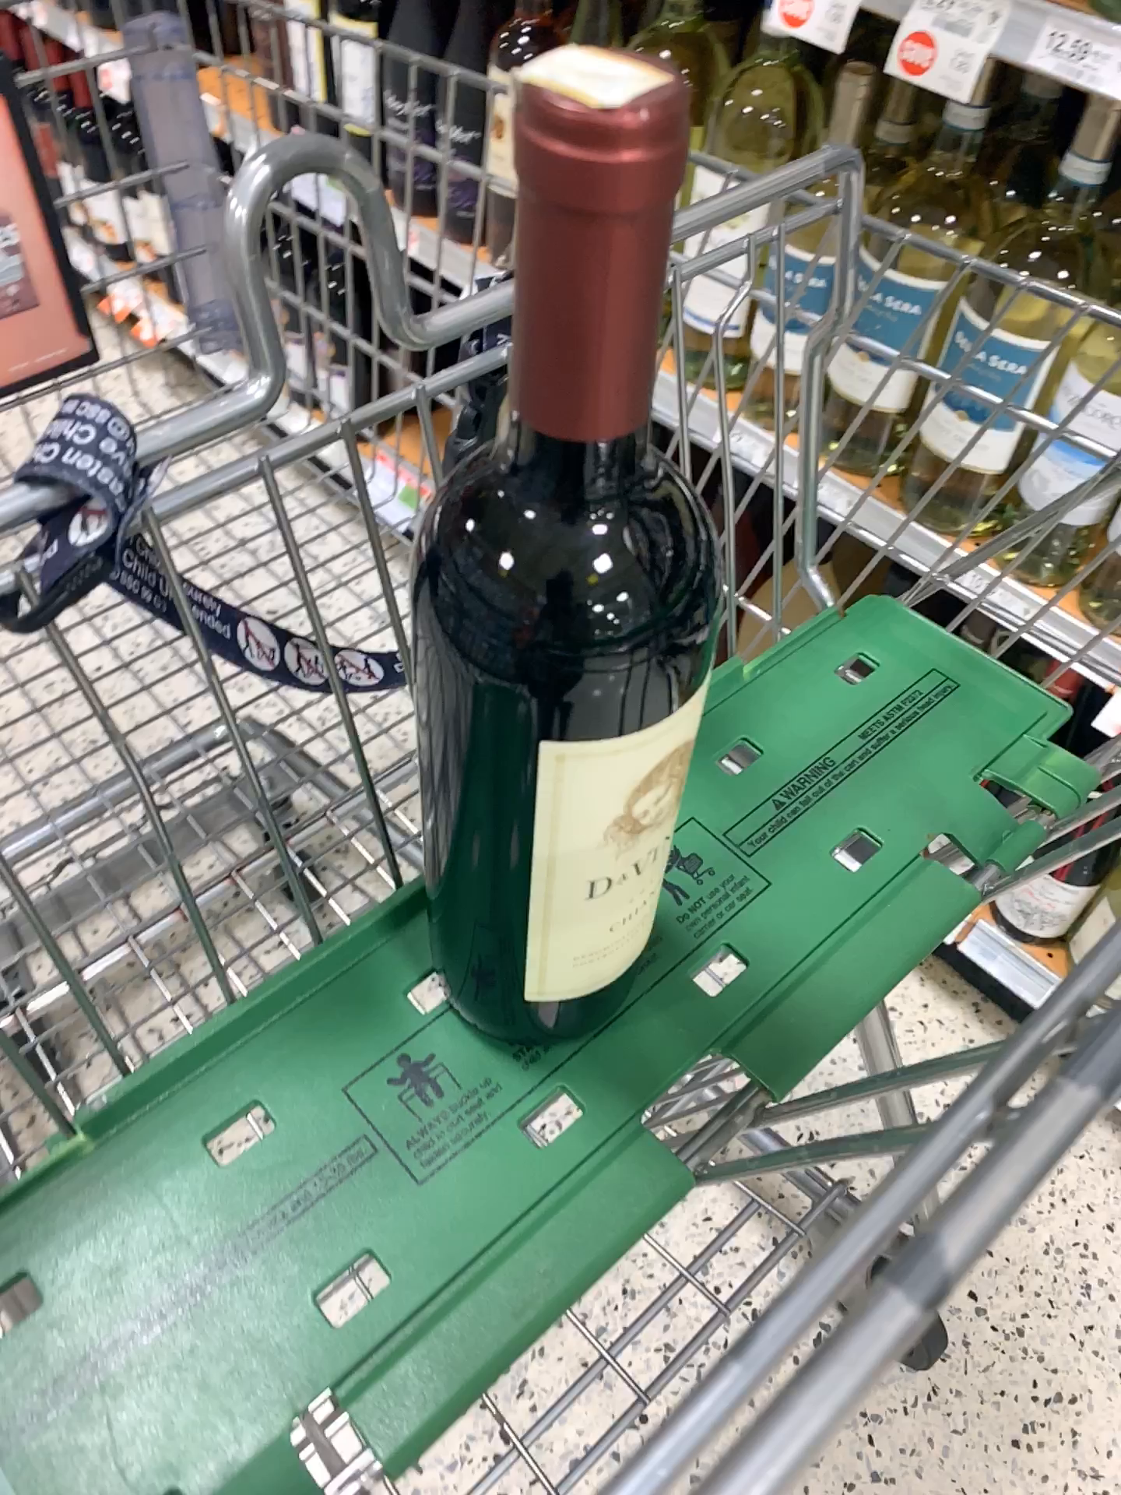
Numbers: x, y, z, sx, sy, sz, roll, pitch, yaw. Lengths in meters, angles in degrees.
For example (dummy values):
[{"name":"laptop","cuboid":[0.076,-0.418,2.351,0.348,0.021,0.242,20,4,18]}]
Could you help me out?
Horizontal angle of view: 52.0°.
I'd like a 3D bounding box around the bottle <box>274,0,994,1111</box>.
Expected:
[{"name":"bottle","cuboid":[0.006,-0.019,0.283,0.080,0.267,0.080,2,50,-2]}]
